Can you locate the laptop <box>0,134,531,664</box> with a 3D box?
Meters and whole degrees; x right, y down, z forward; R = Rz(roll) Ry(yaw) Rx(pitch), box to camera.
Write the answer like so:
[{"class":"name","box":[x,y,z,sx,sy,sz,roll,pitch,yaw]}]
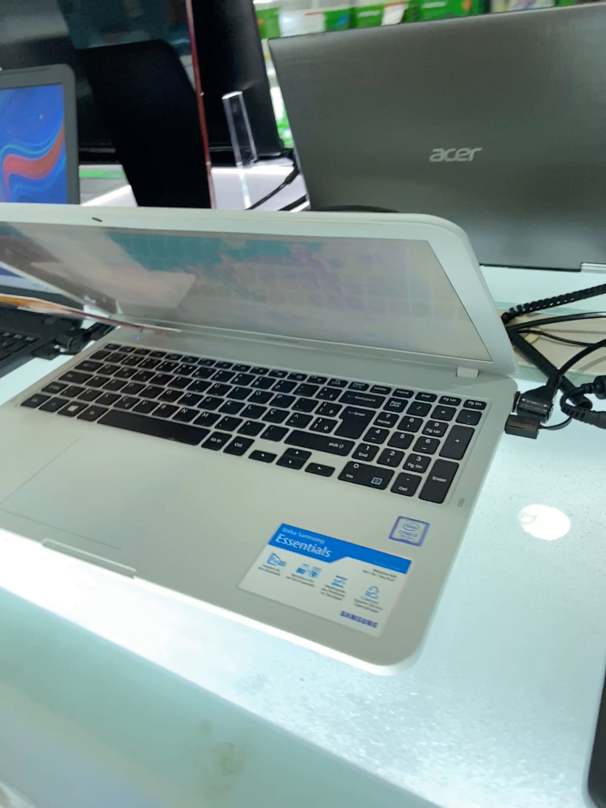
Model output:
[{"class":"laptop","box":[-0.078,-0.047,0.389,0.367,0.162,0.233,10,37,27]}]
